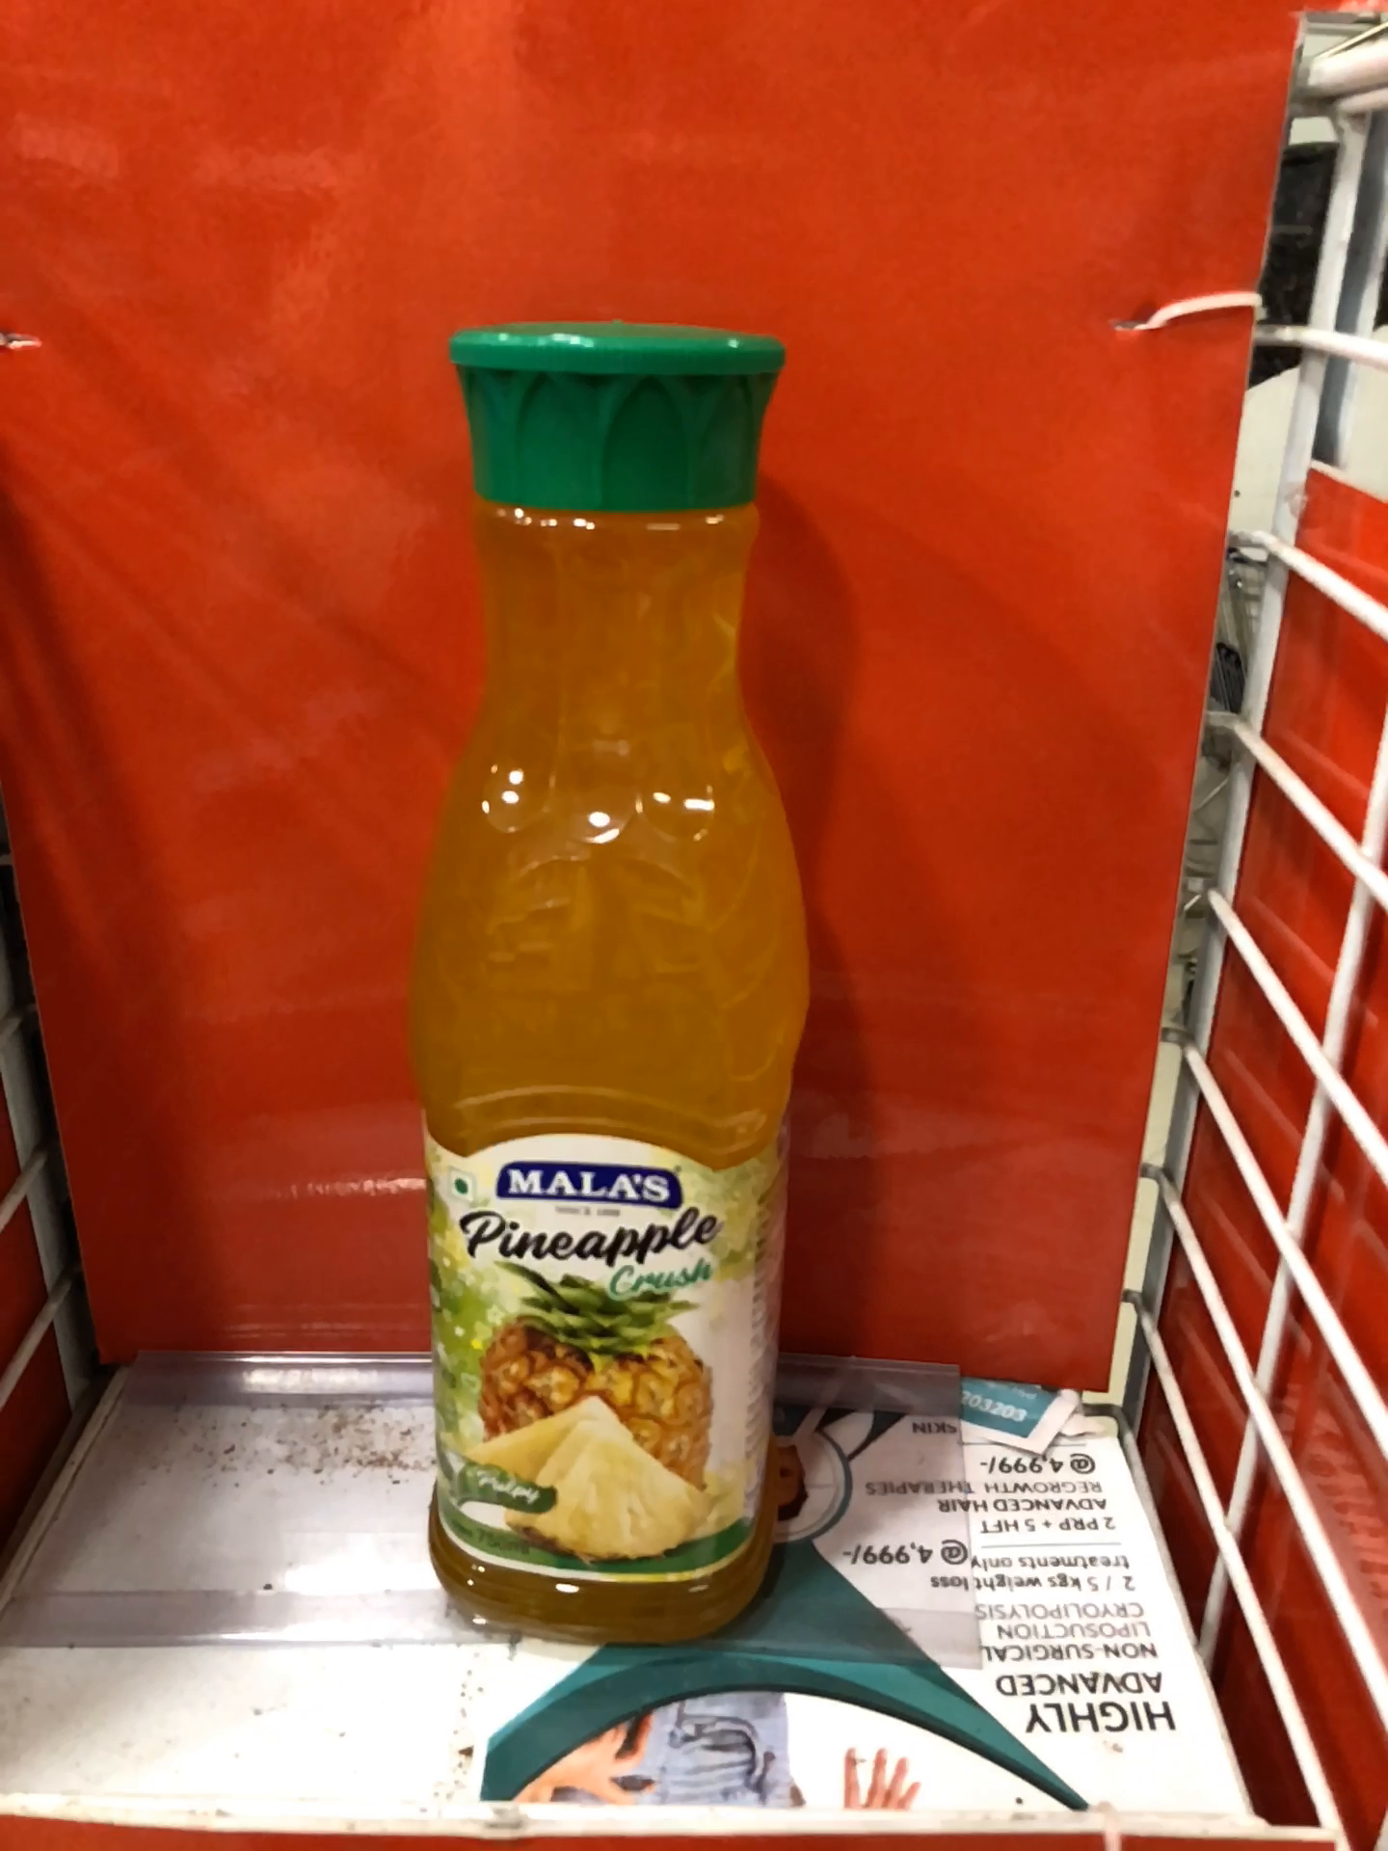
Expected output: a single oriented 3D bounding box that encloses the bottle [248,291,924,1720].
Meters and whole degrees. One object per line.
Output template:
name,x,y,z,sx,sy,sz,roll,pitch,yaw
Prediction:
bottle,-0.012,0.023,0.286,0.090,0.258,0.070,3,24,5
